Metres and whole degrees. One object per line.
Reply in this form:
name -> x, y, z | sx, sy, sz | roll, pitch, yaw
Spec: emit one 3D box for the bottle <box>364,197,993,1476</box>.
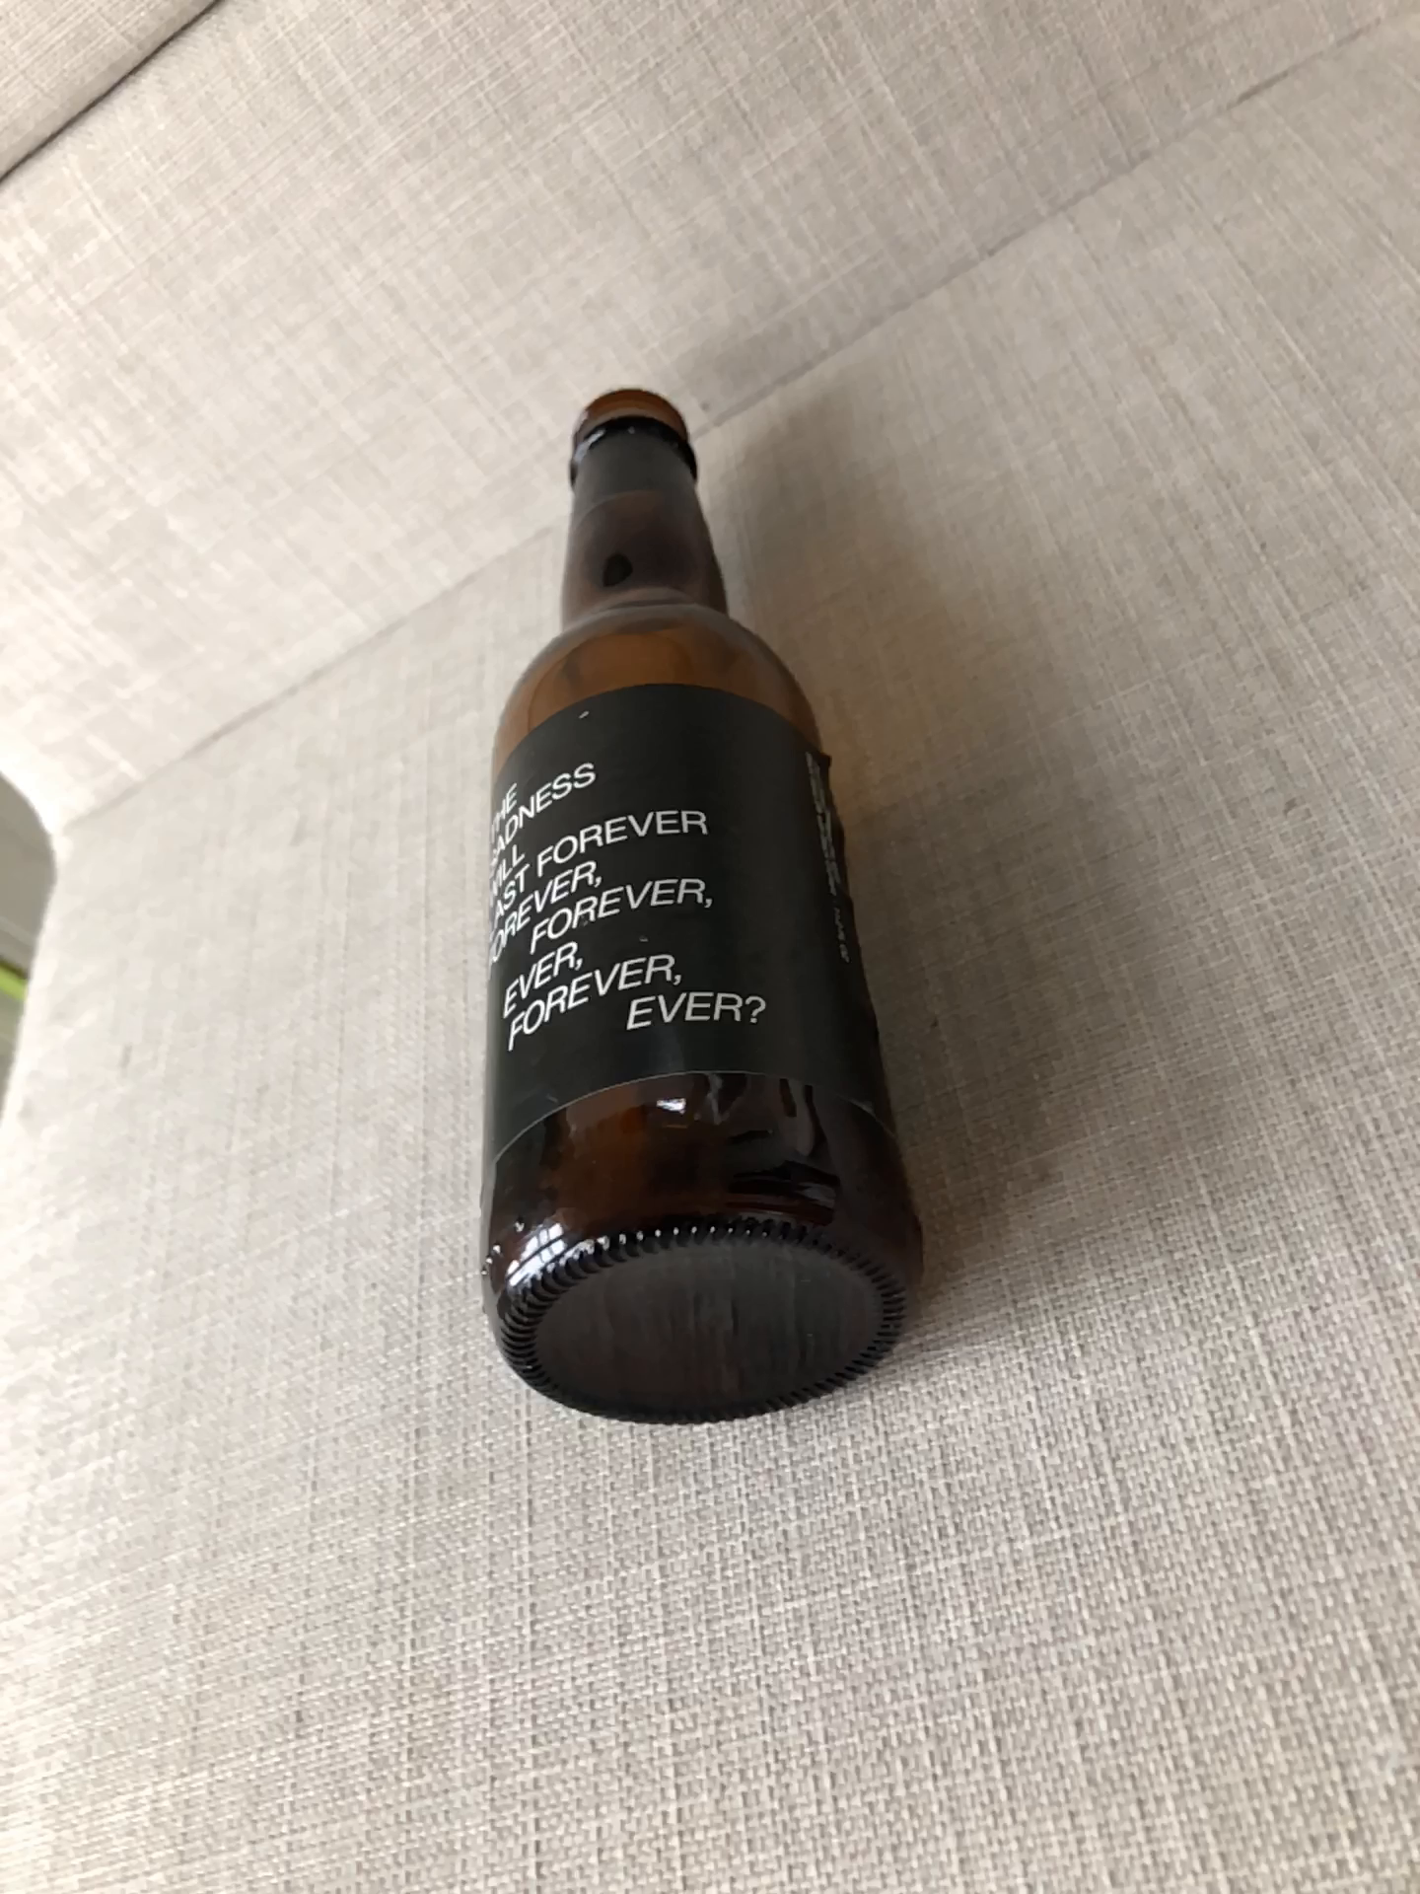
bottle -> -0.013, -0.039, 0.285 | 0.060, 0.060, 0.240 | -25, 47, 20
